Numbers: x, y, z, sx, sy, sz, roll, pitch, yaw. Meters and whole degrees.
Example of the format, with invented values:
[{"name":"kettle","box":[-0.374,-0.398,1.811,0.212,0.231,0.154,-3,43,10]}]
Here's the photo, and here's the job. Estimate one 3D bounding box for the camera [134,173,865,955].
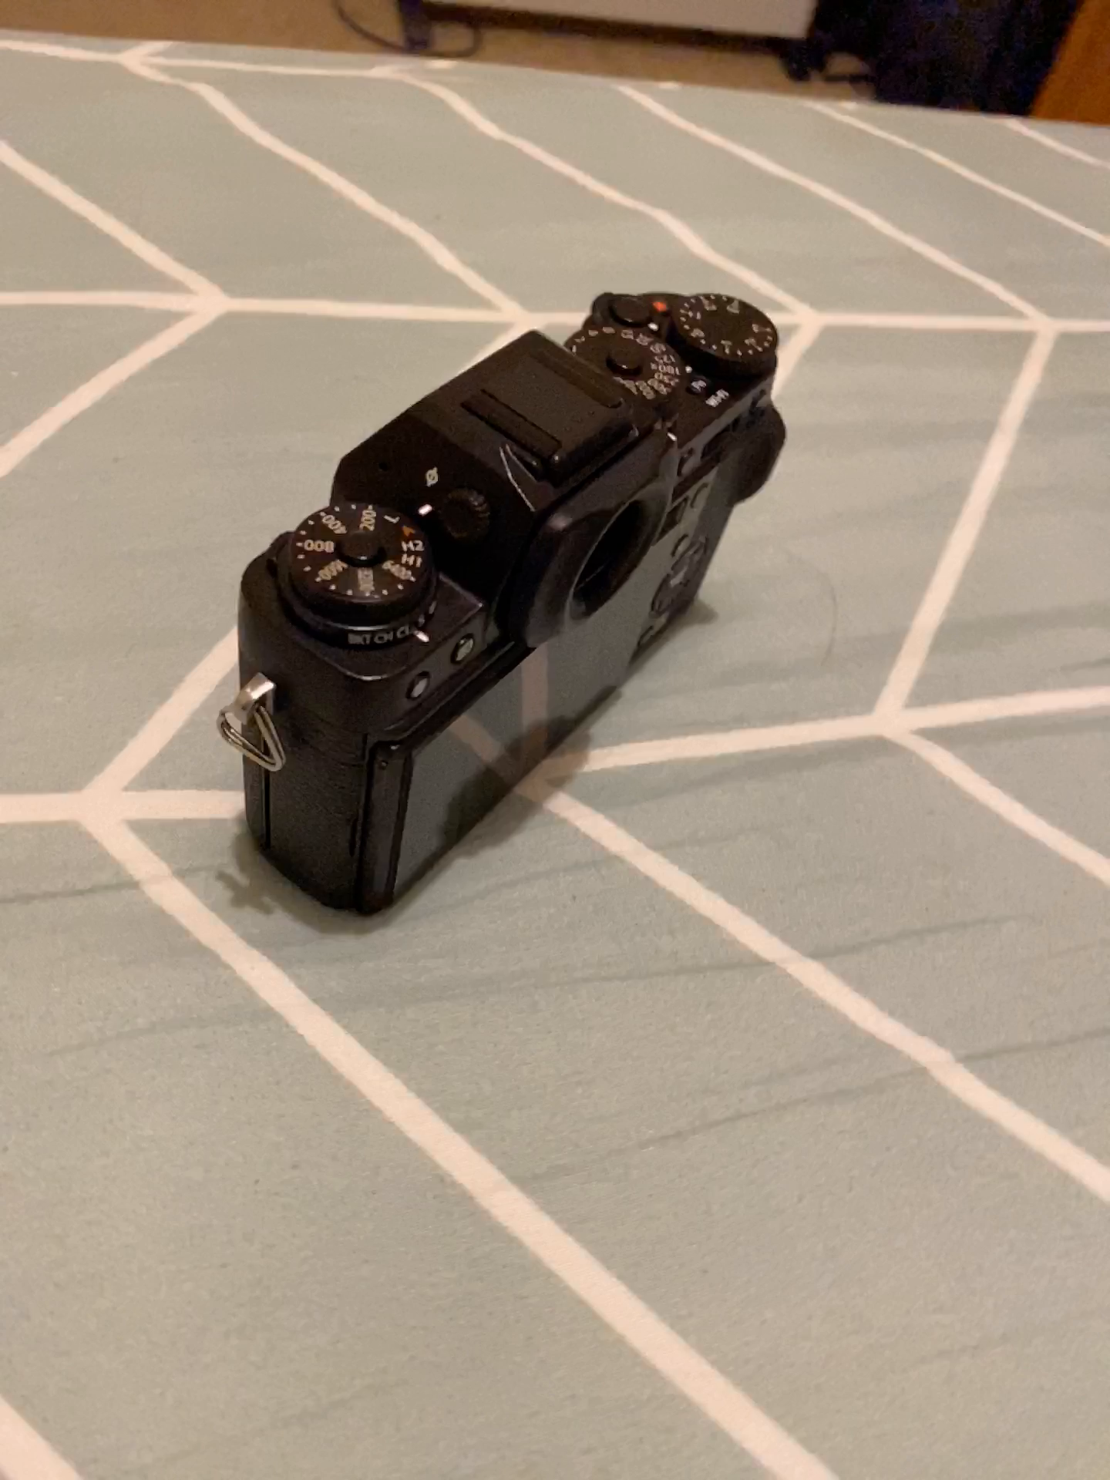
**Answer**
[{"name":"camera","box":[-0.007,-0.038,0.225,0.051,0.087,0.131,36,54,15]}]
